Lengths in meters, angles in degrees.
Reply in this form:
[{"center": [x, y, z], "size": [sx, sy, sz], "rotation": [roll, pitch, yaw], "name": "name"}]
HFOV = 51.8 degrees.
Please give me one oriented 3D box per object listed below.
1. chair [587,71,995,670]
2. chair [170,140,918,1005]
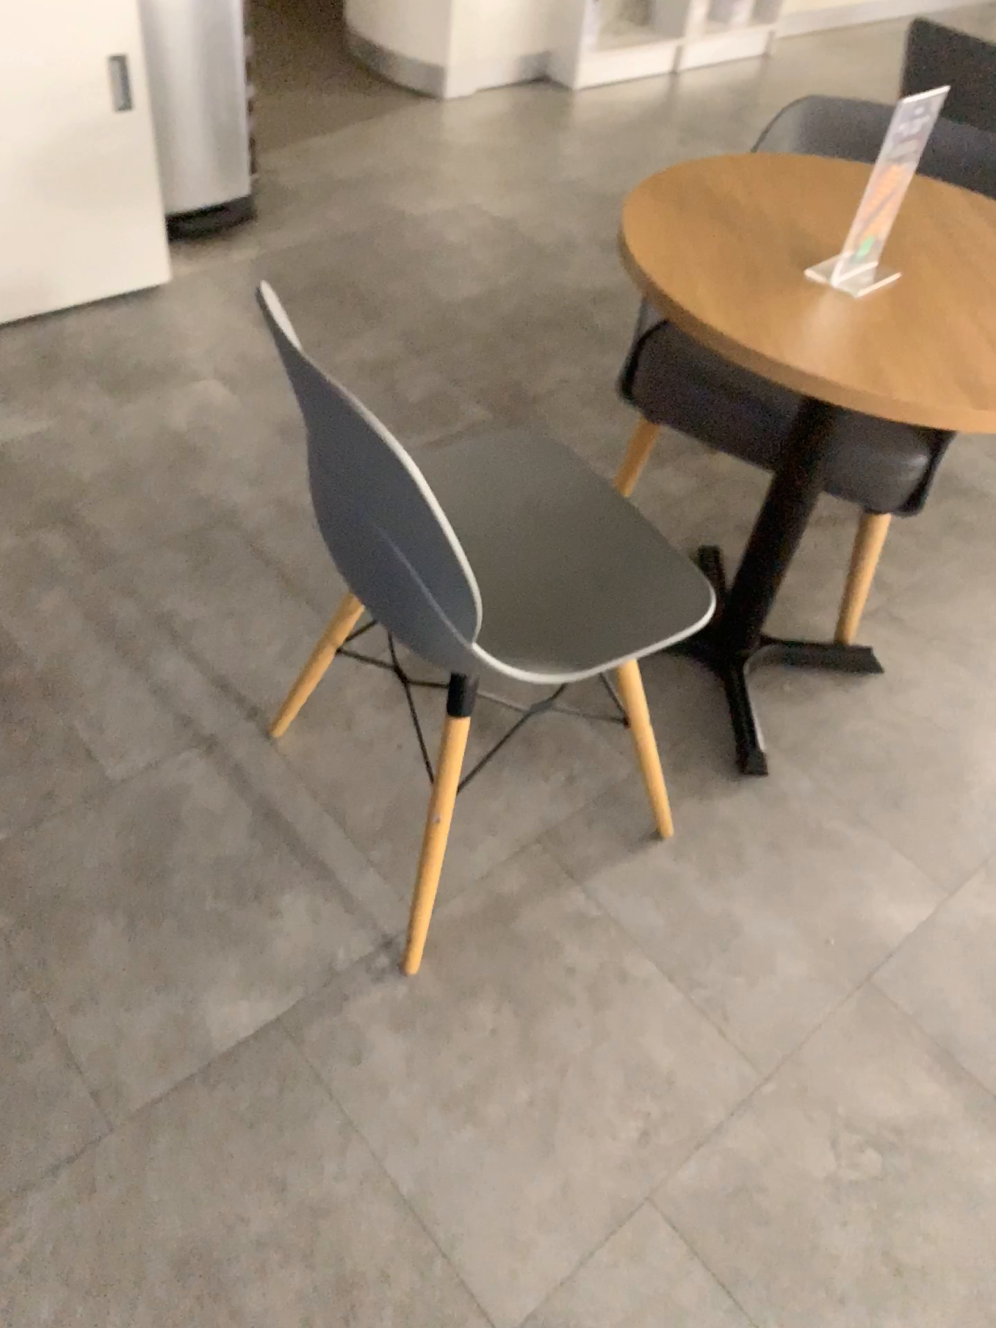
[{"center": [0.590, -0.522, 1.845], "size": [0.556, 0.753, 0.513], "rotation": [30, 49, 20], "name": "chair"}, {"center": [-0.010, -0.098, 1.255], "size": [0.522, 0.802, 0.508], "rotation": [-20, 52, -26], "name": "chair"}]
